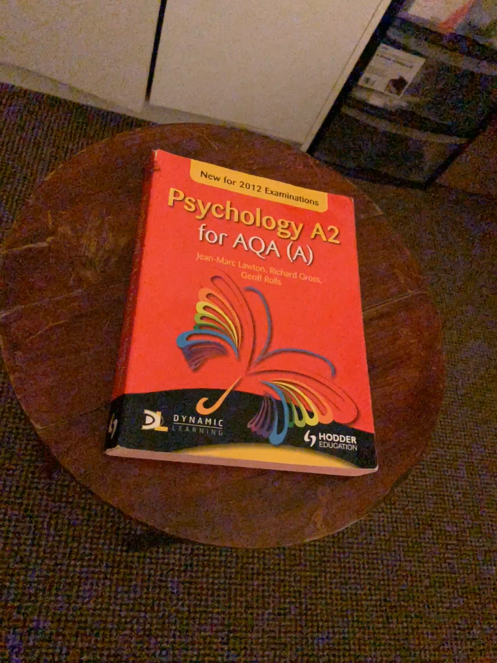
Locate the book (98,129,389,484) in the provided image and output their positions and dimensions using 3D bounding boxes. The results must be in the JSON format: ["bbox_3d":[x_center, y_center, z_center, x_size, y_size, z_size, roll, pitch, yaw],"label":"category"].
[{"bbox_3d":[0.002,-0.030,0.439,0.210,0.040,0.292,9,61,-15],"label":"book"}]
